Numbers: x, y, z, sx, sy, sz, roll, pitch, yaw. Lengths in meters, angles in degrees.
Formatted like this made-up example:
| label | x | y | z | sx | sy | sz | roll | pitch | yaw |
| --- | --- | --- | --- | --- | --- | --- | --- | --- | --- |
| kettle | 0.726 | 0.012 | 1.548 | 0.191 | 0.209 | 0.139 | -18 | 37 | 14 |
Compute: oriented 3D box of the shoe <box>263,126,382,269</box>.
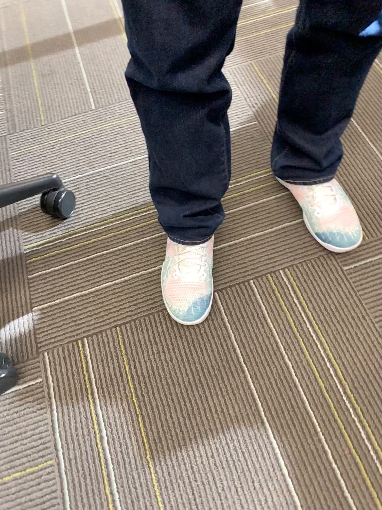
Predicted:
| label | x | y | z | sx | sy | sz | roll | pitch | yaw |
| --- | --- | --- | --- | --- | --- | --- | --- | --- | --- |
| shoe | 0.272 | -0.129 | 0.827 | 0.122 | 0.078 | 0.290 | -20 | 62 | -3 |

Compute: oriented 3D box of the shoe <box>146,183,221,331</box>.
| label | x | y | z | sx | sy | sz | roll | pitch | yaw |
| --- | --- | --- | --- | --- | --- | --- | --- | --- | --- |
| shoe | -0.006 | -0.002 | 0.774 | 0.117 | 0.088 | 0.283 | 1 | 62 | 7 |
